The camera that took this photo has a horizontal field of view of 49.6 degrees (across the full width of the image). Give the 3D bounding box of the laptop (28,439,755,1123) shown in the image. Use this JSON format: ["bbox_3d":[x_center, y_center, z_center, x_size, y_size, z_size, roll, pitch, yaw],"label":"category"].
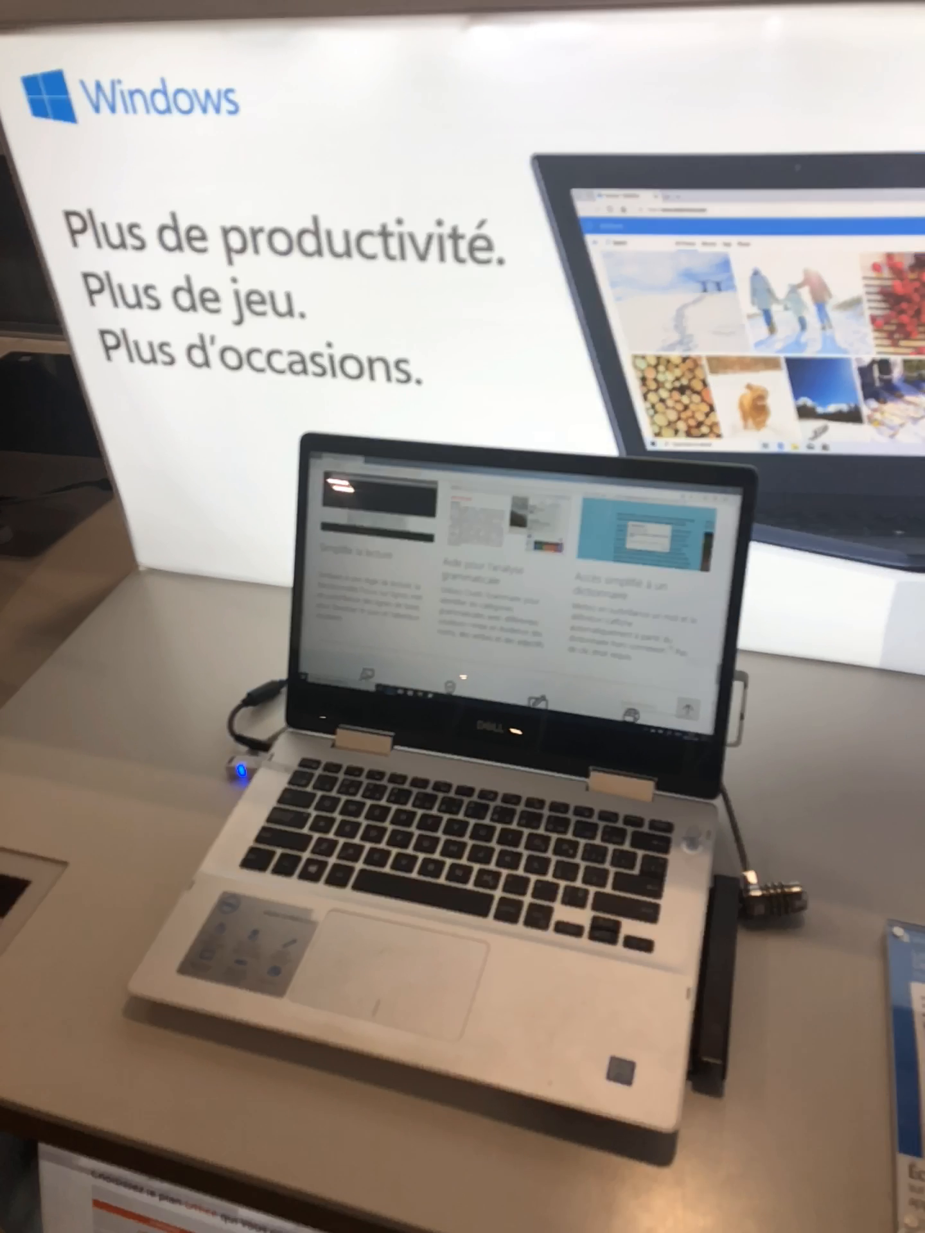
[{"bbox_3d":[-0.004,0.064,0.624,0.316,0.193,0.338,7,38,16],"label":"laptop"}]
